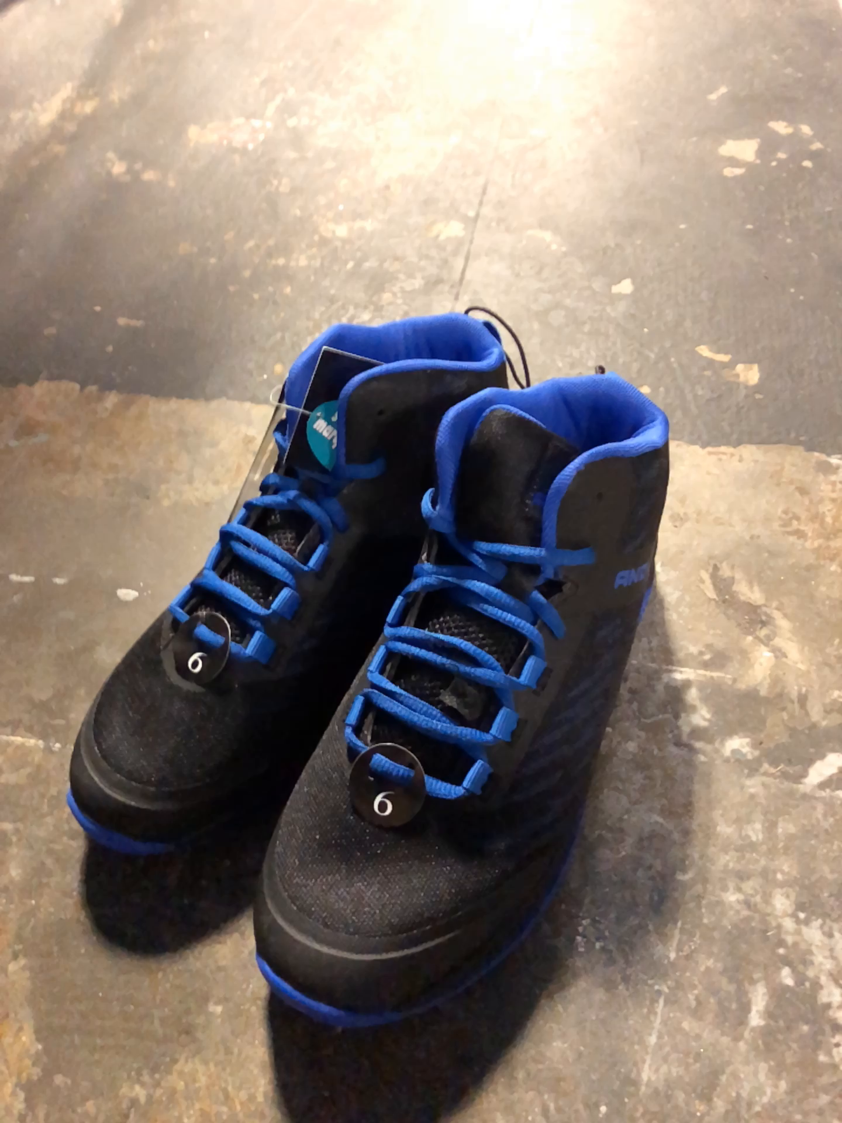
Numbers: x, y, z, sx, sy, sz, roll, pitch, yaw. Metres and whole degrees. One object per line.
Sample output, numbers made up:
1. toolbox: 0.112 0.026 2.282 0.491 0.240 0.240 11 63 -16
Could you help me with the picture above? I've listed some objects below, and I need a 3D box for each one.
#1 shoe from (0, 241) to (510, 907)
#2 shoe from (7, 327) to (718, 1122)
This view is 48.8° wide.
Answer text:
1. shoe: -0.077 -0.007 0.361 0.100 0.119 0.221 28 58 32
2. shoe: 0.004 0.042 0.330 0.110 0.119 0.231 21 55 28
